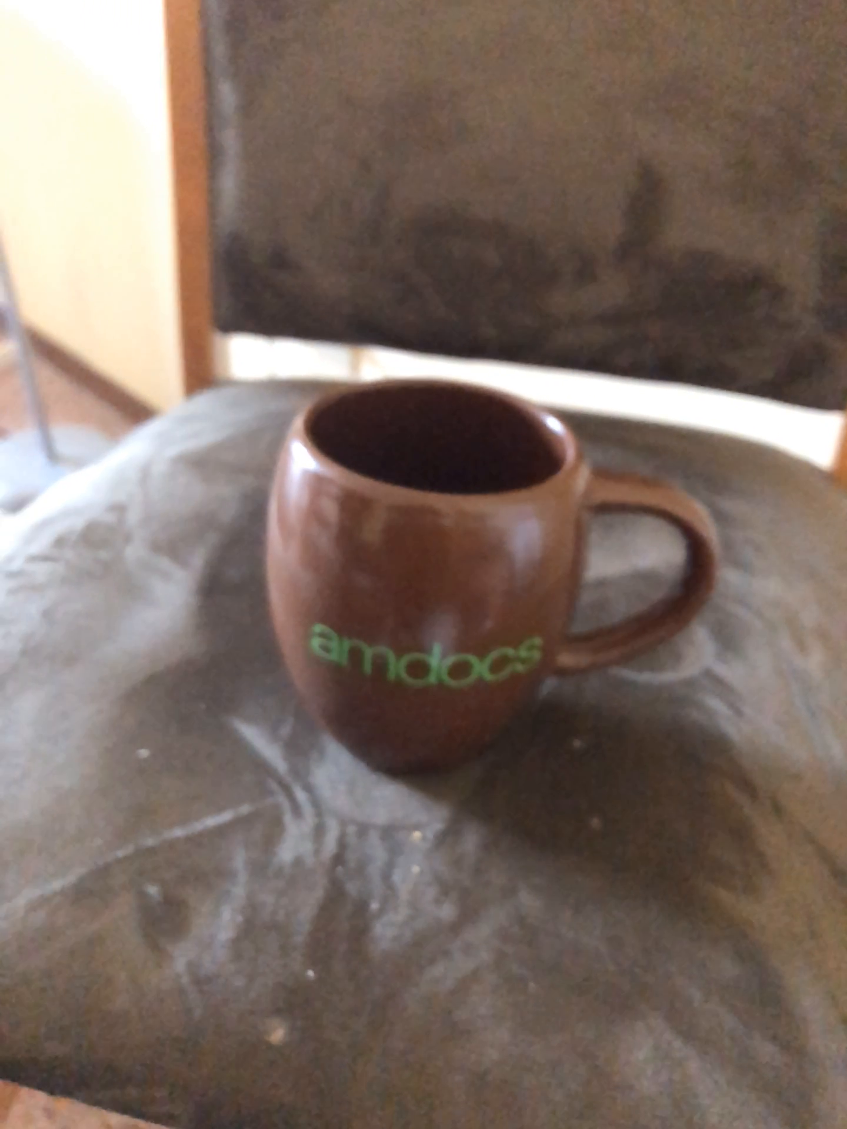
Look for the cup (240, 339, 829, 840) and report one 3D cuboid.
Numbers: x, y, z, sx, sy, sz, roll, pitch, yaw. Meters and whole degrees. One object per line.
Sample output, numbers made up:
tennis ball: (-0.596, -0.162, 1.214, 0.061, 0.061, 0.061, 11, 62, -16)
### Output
cup: (0.025, 0.006, 0.299, 0.140, 0.100, 0.090, 9, 33, -2)
